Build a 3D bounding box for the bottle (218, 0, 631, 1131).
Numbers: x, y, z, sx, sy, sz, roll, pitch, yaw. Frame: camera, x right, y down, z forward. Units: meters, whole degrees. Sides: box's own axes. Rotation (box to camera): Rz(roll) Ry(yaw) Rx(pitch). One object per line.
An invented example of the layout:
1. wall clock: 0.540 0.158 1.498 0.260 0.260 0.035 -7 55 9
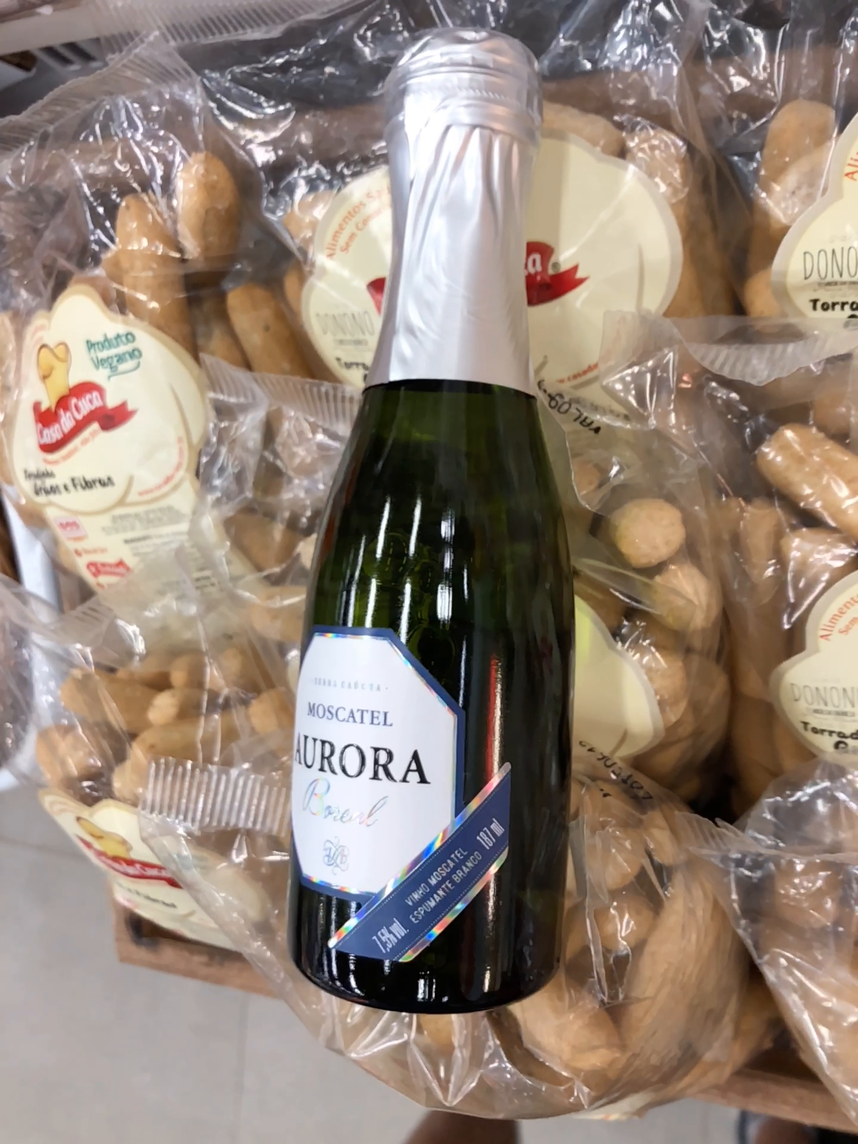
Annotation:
1. bottle: 0.000 -0.009 0.188 0.060 0.050 0.200 4 94 20
